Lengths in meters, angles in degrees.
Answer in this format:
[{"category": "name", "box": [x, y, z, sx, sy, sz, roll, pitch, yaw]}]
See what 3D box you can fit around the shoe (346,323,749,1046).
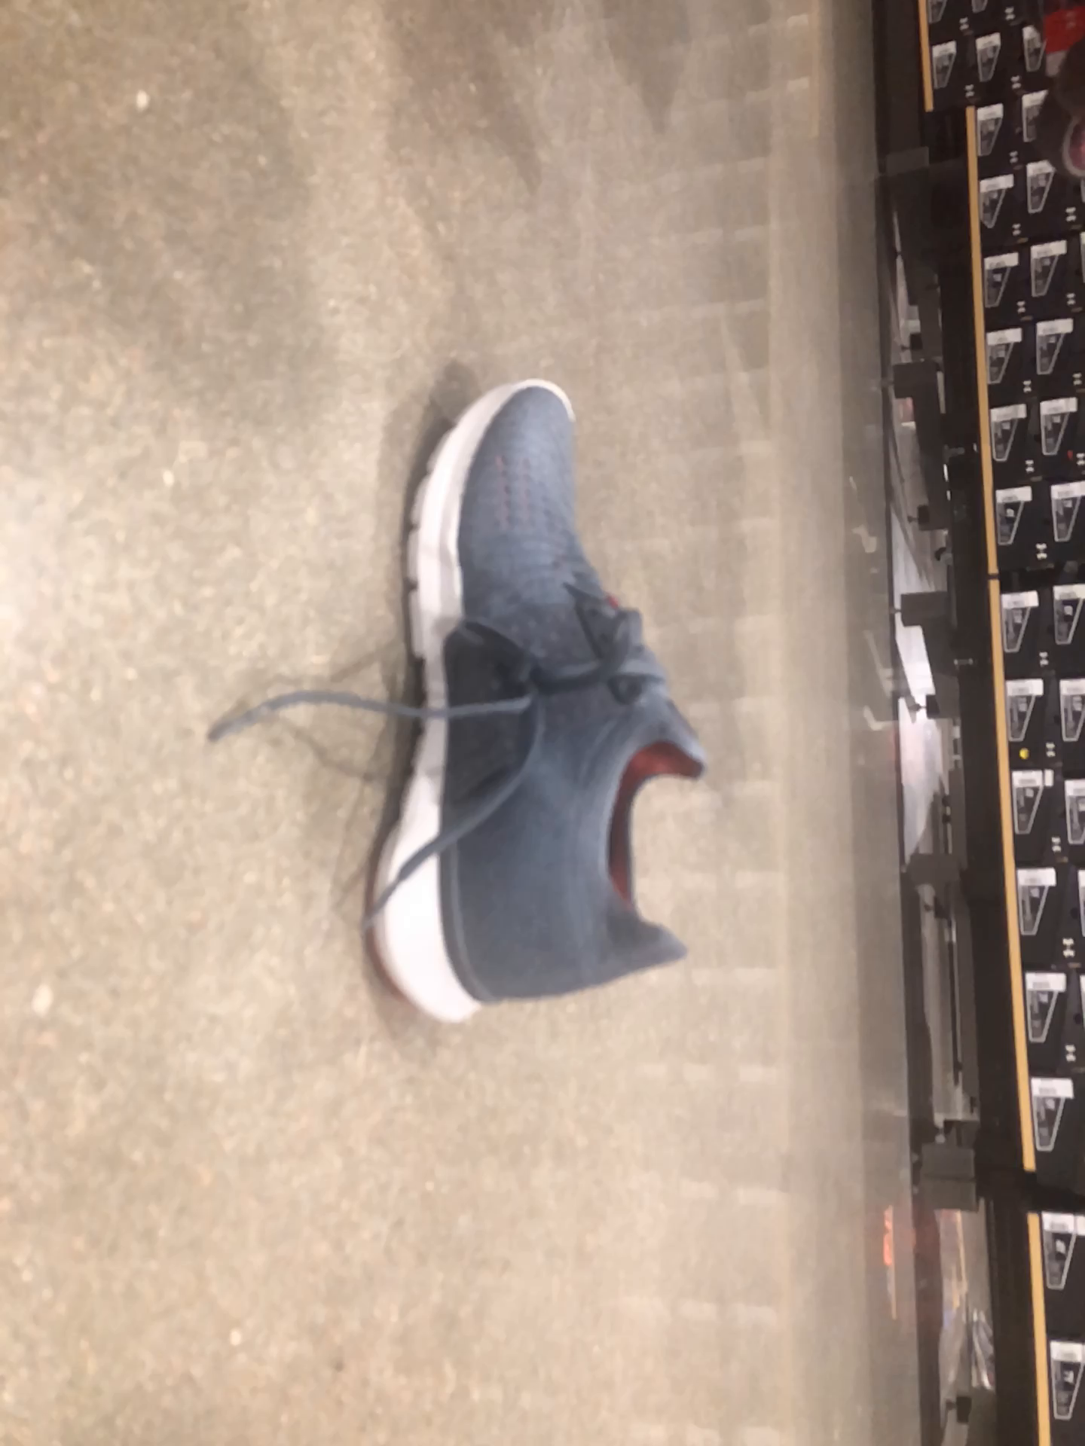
[{"category": "shoe", "box": [0.014, -0.011, 0.456, 0.101, 0.109, 0.250, 46, 45, -61]}]
